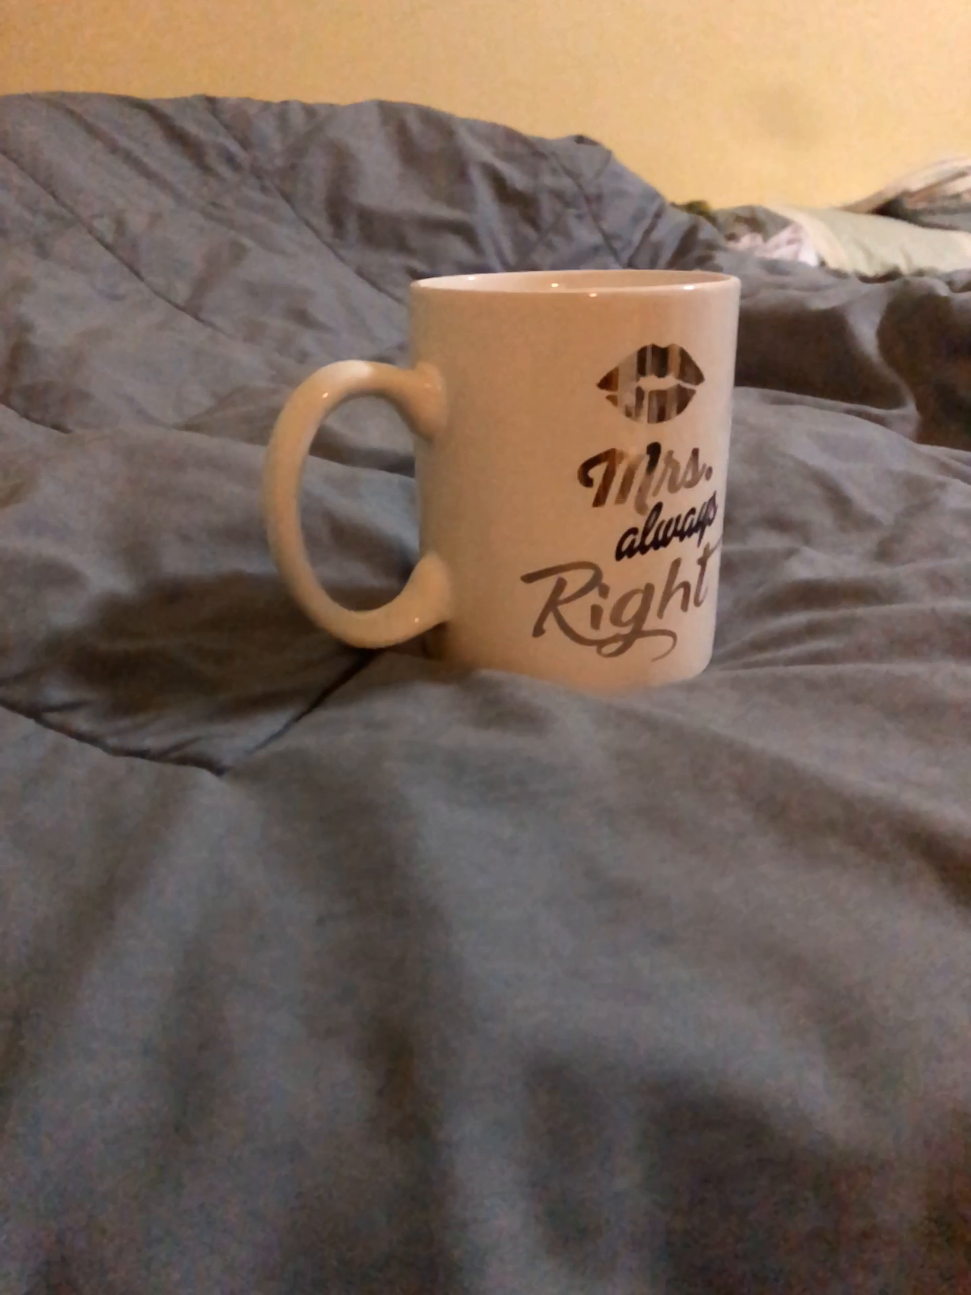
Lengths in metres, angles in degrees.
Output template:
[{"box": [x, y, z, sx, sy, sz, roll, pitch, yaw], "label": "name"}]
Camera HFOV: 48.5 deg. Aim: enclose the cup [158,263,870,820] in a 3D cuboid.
[{"box": [0.003, -0.044, 0.300, 0.150, 0.110, 0.110, -11, 25, -25], "label": "cup"}]
